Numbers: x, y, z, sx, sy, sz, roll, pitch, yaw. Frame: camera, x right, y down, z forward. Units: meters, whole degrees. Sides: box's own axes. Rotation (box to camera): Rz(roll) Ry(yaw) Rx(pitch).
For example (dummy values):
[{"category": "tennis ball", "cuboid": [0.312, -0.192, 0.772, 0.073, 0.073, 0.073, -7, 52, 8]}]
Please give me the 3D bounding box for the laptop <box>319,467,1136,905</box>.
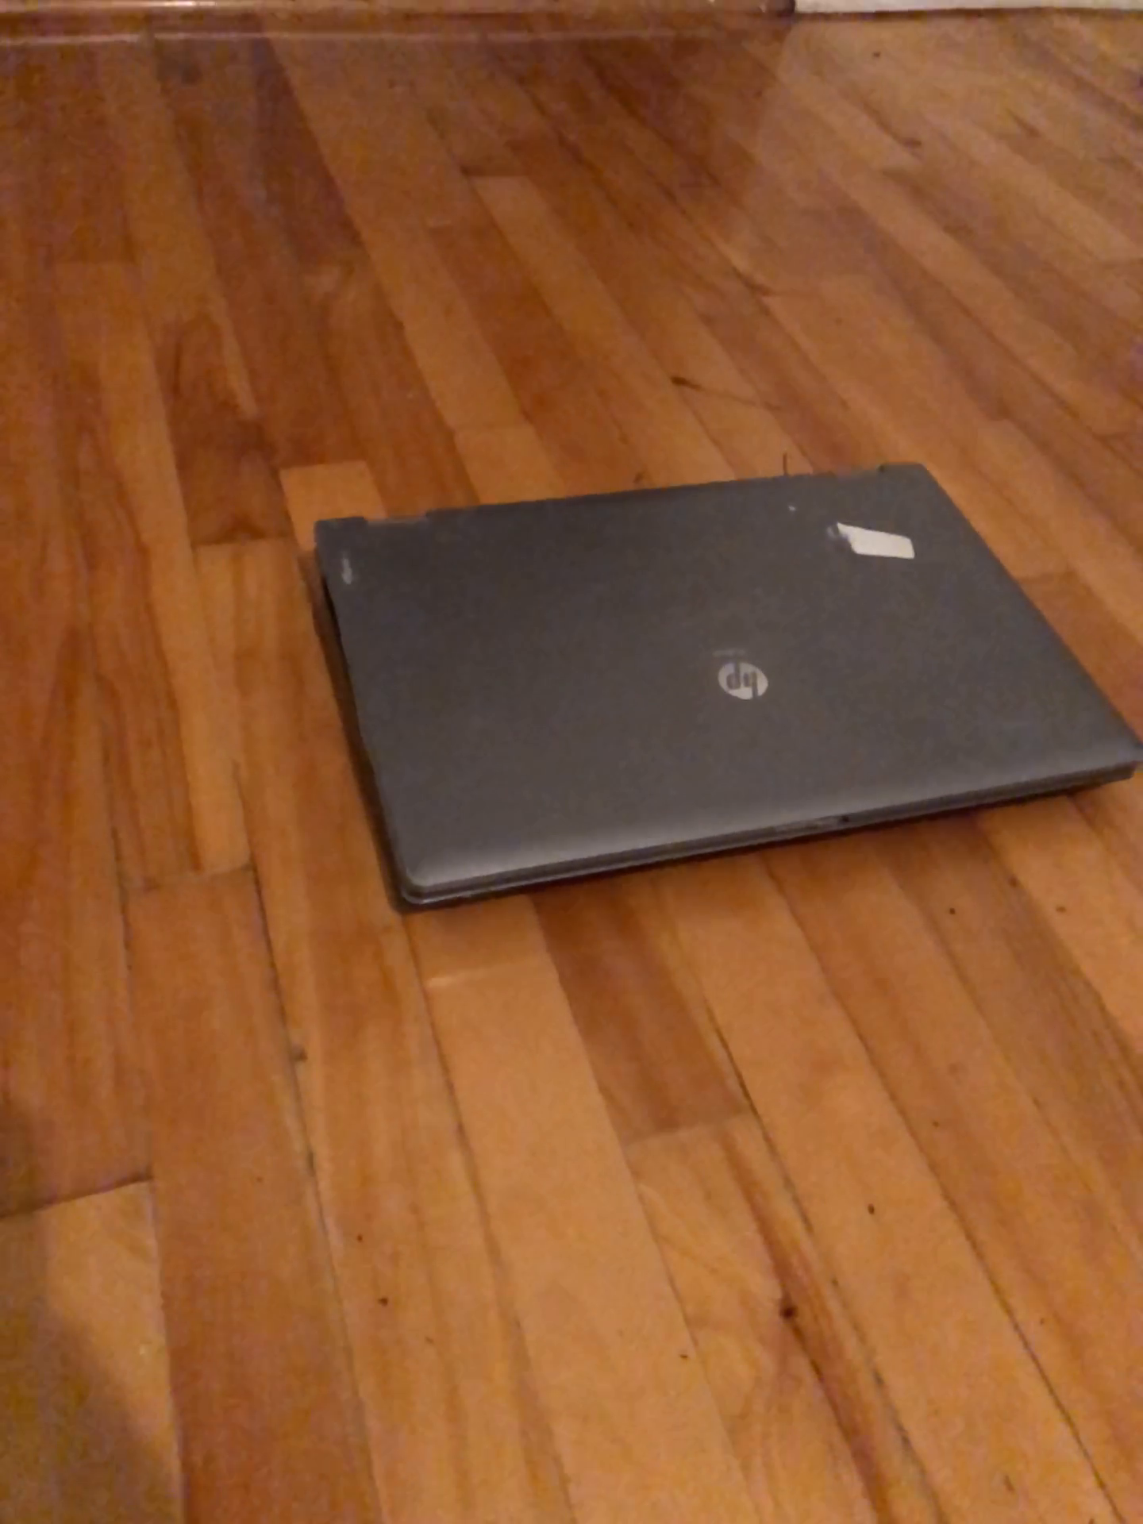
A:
[{"category": "laptop", "cuboid": [0.072, -0.060, 0.648, 0.363, 0.010, 0.241, -9, 51, -16]}]
